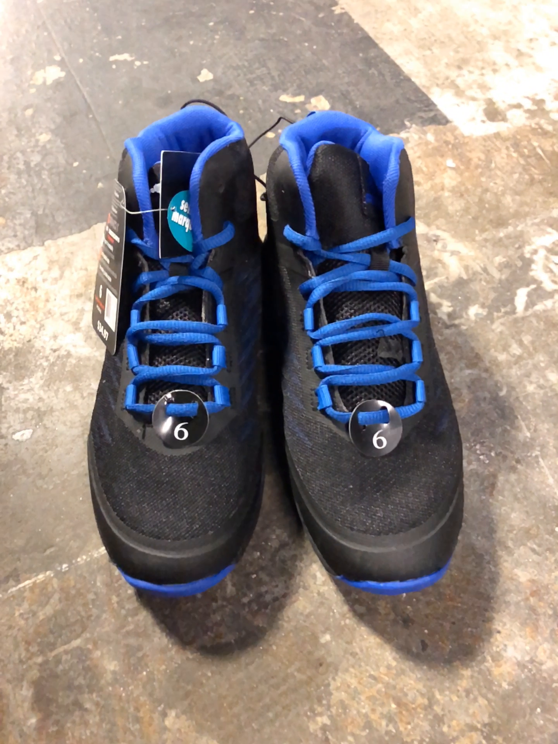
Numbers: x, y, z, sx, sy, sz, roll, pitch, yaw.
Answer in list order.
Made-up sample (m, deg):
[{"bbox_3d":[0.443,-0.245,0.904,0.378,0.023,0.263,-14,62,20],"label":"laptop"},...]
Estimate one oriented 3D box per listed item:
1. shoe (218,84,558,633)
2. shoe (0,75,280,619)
[{"bbox_3d":[0.037,-0.010,0.302,0.110,0.119,0.231,-6,59,2],"label":"shoe"},{"bbox_3d":[-0.060,-0.015,0.288,0.100,0.119,0.221,0,58,6],"label":"shoe"}]
